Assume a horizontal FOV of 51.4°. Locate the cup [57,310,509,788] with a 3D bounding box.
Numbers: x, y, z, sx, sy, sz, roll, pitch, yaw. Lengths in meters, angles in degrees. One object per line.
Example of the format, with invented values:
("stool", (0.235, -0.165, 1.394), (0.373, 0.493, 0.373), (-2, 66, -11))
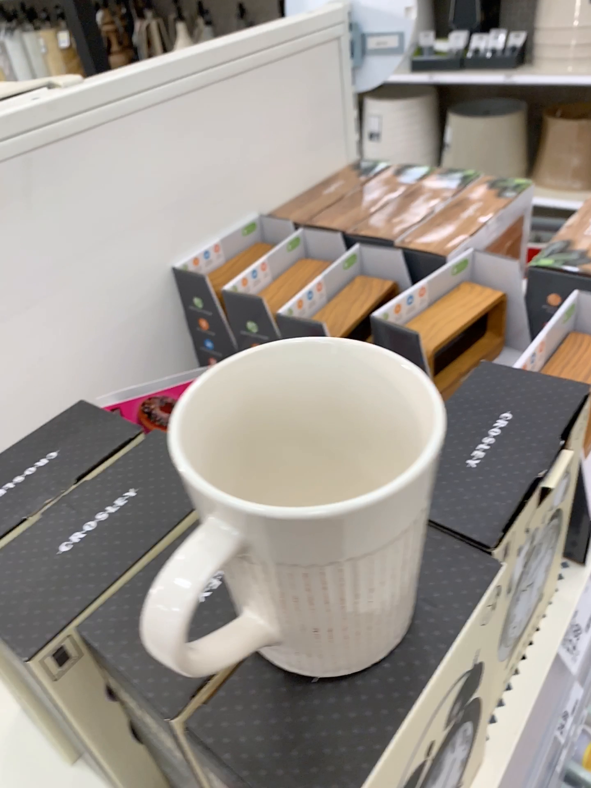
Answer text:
("cup", (0.003, 0.049, 0.220), (0.084, 0.099, 0.117), (26, 46, 35))
